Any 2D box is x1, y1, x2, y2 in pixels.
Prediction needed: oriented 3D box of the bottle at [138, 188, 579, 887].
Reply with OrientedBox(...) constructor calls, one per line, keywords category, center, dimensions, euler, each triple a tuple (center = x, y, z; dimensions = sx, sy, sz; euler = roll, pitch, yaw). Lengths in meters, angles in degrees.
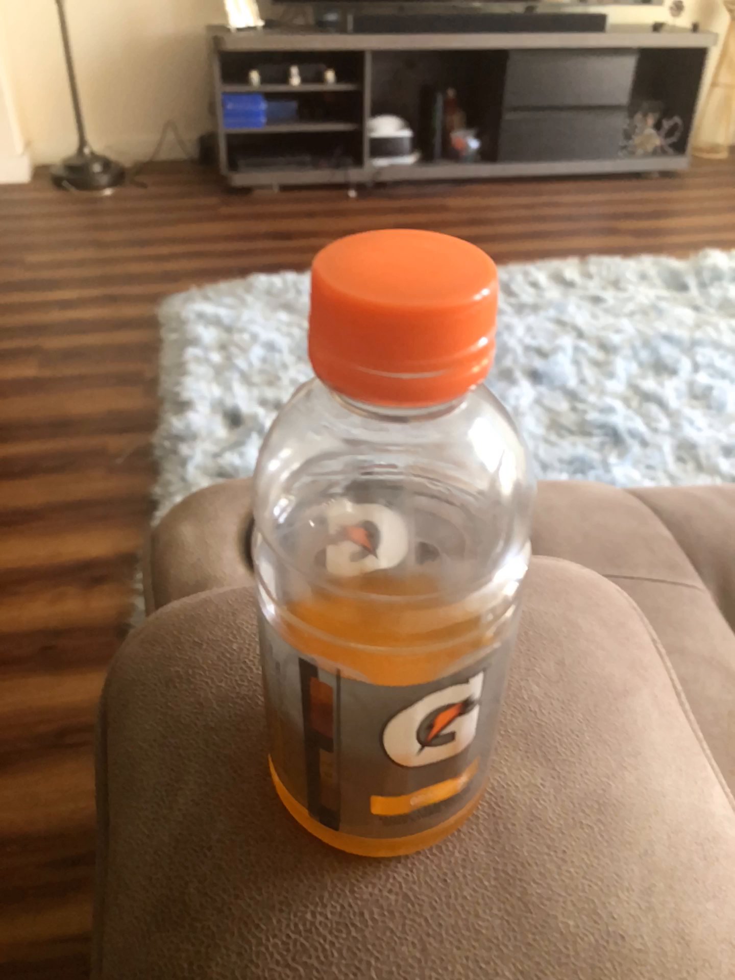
OrientedBox(category="bottle", center=(0.003, 0.015, 0.201), dimensions=(0.070, 0.149, 0.070), euler=(1, 35, -1))
